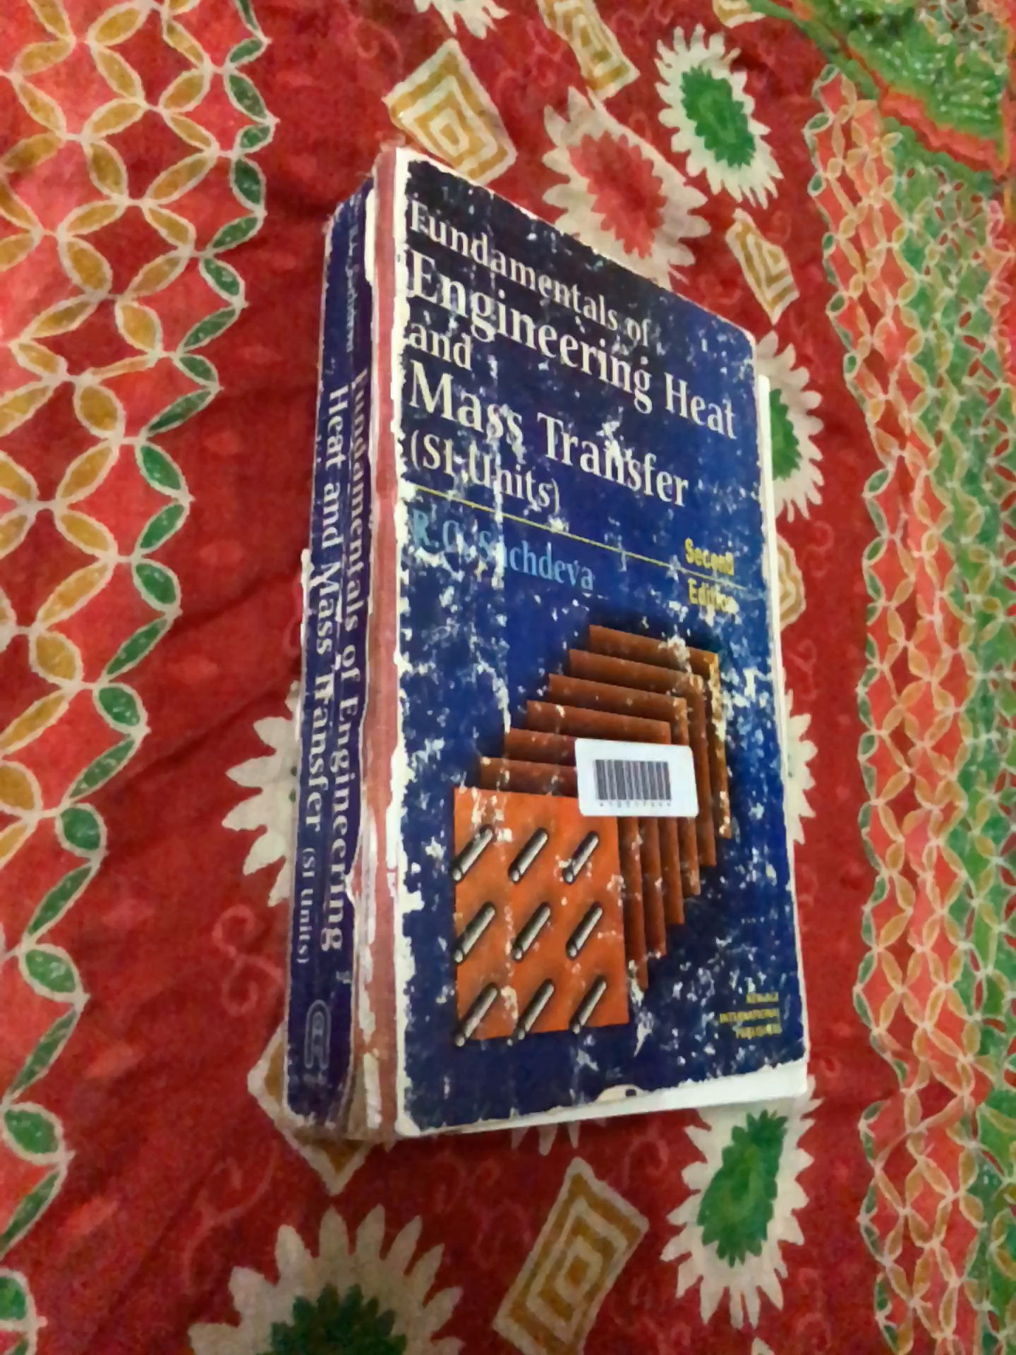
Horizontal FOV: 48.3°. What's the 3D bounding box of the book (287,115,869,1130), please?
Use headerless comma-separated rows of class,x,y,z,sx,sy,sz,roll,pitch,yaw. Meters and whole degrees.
book,0.024,-0.008,0.290,0.151,0.043,0.209,9,76,-39
